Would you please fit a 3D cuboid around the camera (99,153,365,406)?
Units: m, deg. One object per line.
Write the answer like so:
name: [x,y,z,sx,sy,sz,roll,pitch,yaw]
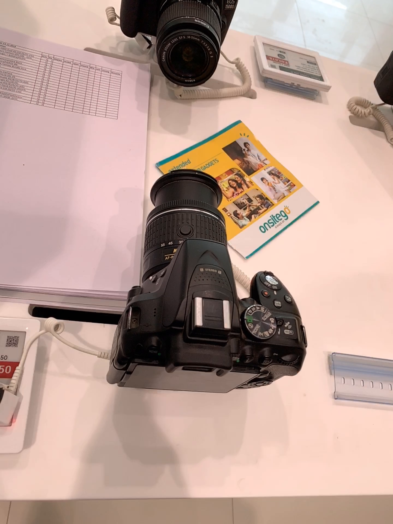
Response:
camera: [0.011,0.020,0.248,0.118,0.100,0.107,8,59,-14]
